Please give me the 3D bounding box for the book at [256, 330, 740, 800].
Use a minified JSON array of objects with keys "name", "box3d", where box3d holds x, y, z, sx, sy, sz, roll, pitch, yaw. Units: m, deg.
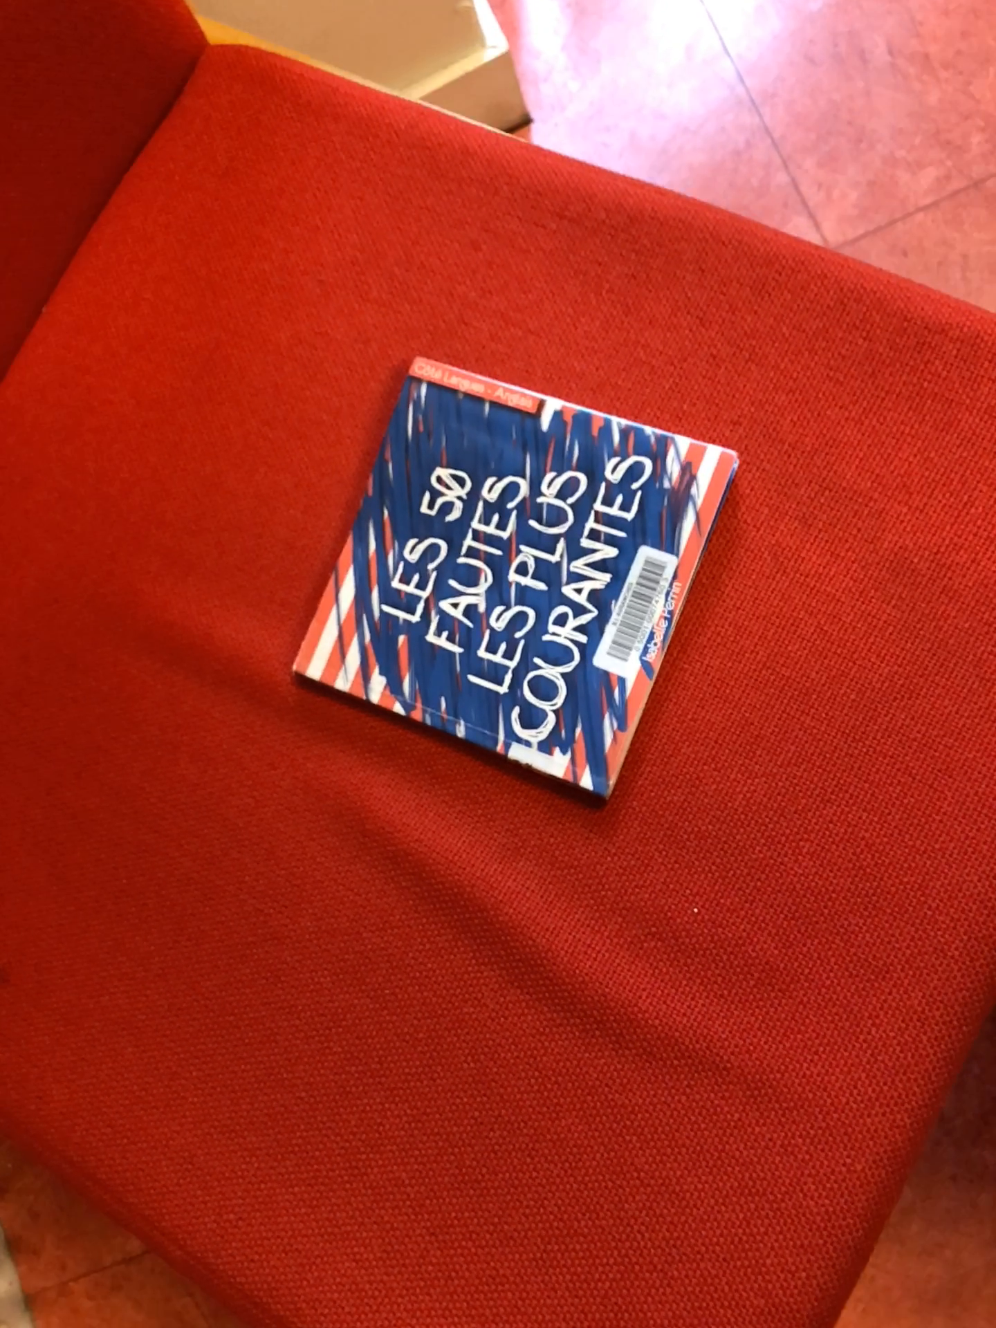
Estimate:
[{"name":"book","box3d":[-0.002,-0.044,0.440,0.148,0.020,0.148,21,86,18]}]
